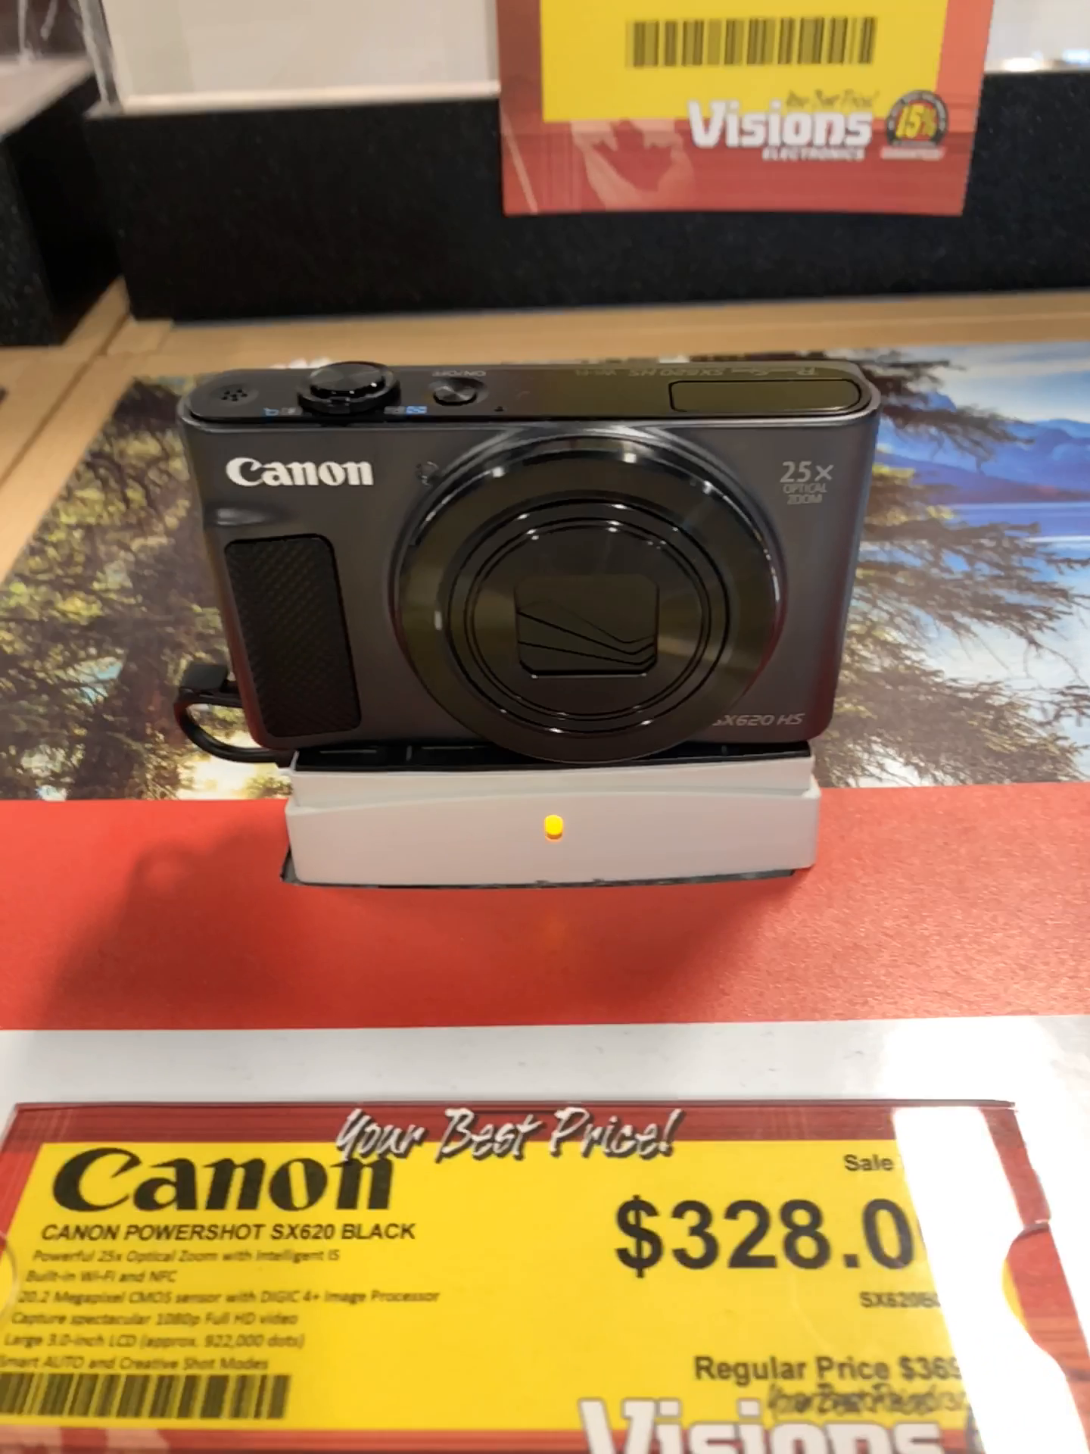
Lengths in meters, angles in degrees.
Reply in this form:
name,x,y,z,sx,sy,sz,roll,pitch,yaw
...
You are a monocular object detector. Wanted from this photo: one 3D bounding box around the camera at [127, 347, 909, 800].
name,x,y,z,sx,sy,sz,roll,pitch,yaw
camera,-0.002,-0.022,0.185,0.100,0.060,0.030,-1,39,4
